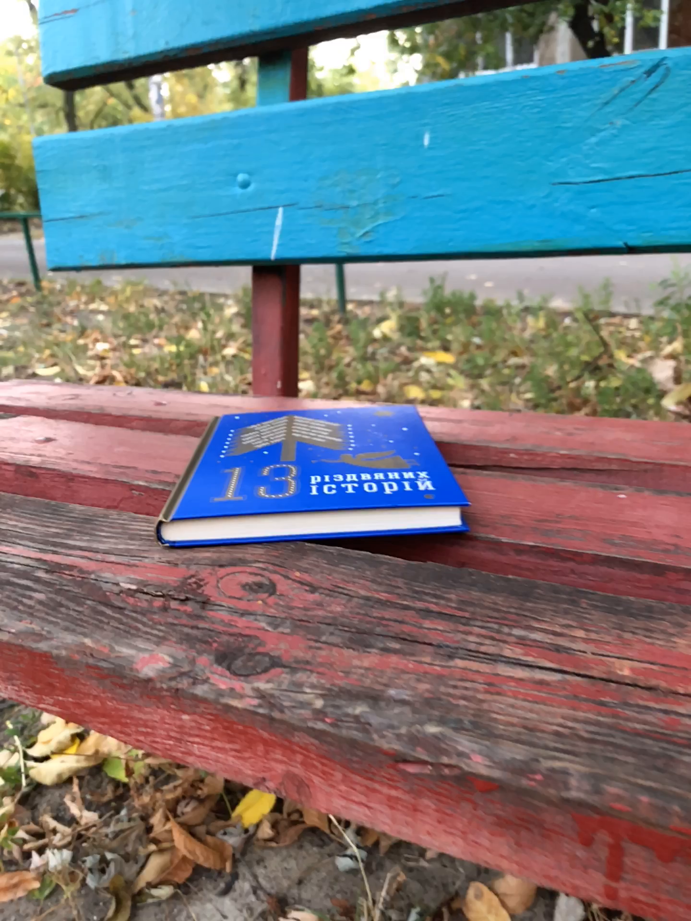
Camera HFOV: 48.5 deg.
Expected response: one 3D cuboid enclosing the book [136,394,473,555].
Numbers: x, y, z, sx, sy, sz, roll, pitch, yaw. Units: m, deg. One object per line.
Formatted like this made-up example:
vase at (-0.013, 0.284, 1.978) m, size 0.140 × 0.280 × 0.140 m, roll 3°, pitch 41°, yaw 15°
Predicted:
book at (-0.023, -0.002, 0.458) m, size 0.155 × 0.020 × 0.213 m, roll -4°, pitch 18°, yaw -2°
